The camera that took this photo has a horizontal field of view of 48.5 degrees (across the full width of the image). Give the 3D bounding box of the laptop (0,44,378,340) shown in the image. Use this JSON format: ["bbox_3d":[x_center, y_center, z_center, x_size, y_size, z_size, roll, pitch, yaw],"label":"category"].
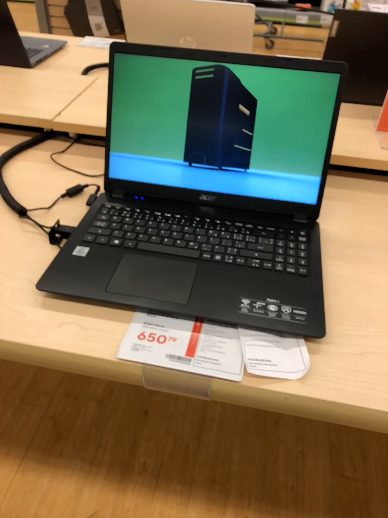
[{"bbox_3d":[0.010,-0.119,0.583,0.354,0.210,0.329,9,41,7],"label":"laptop"}]
